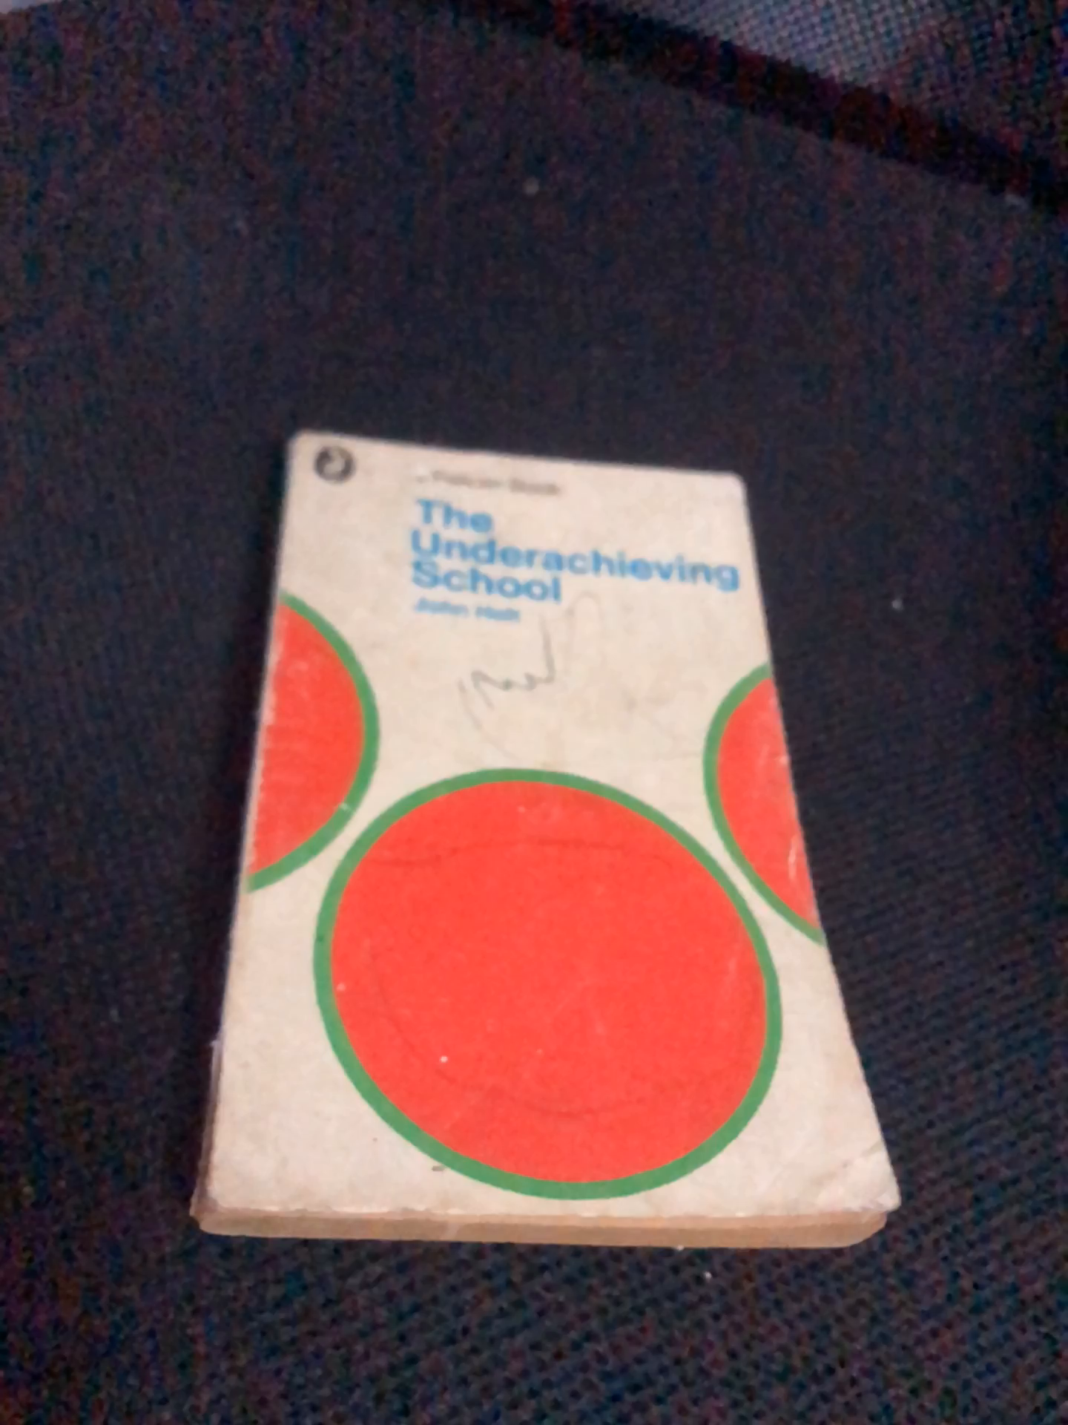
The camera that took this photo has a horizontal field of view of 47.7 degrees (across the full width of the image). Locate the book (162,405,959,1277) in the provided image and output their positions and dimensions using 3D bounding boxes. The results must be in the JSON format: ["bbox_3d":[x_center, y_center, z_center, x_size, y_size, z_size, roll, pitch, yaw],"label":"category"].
[{"bbox_3d":[0.001,0.012,0.241,0.120,0.020,0.182,5,51,-11],"label":"book"}]
